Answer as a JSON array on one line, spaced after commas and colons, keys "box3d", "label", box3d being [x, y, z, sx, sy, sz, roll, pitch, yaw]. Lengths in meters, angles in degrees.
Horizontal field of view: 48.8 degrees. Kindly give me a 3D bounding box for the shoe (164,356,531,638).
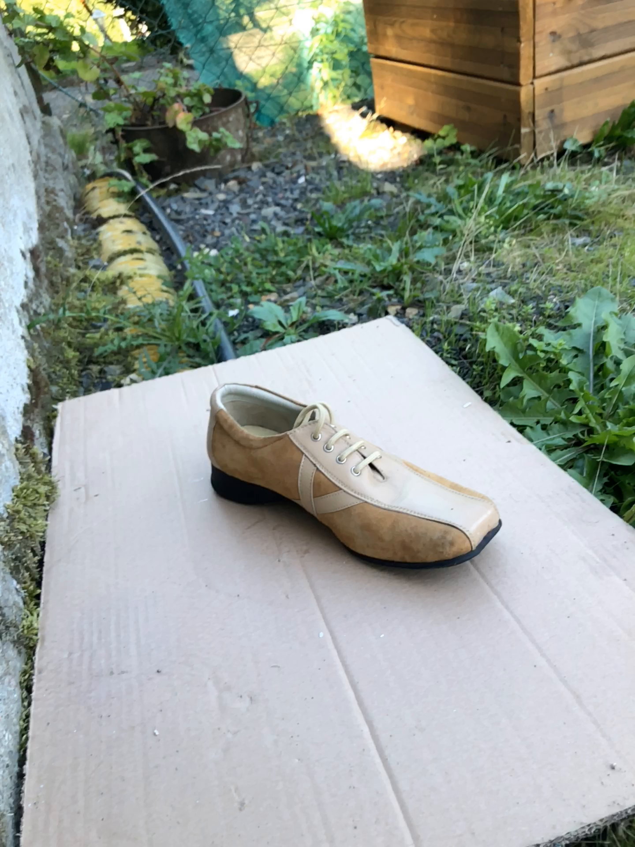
[{"box3d": [0.015, 0.040, 0.538, 0.270, 0.080, 0.100, 22, 48, 37], "label": "shoe"}]
